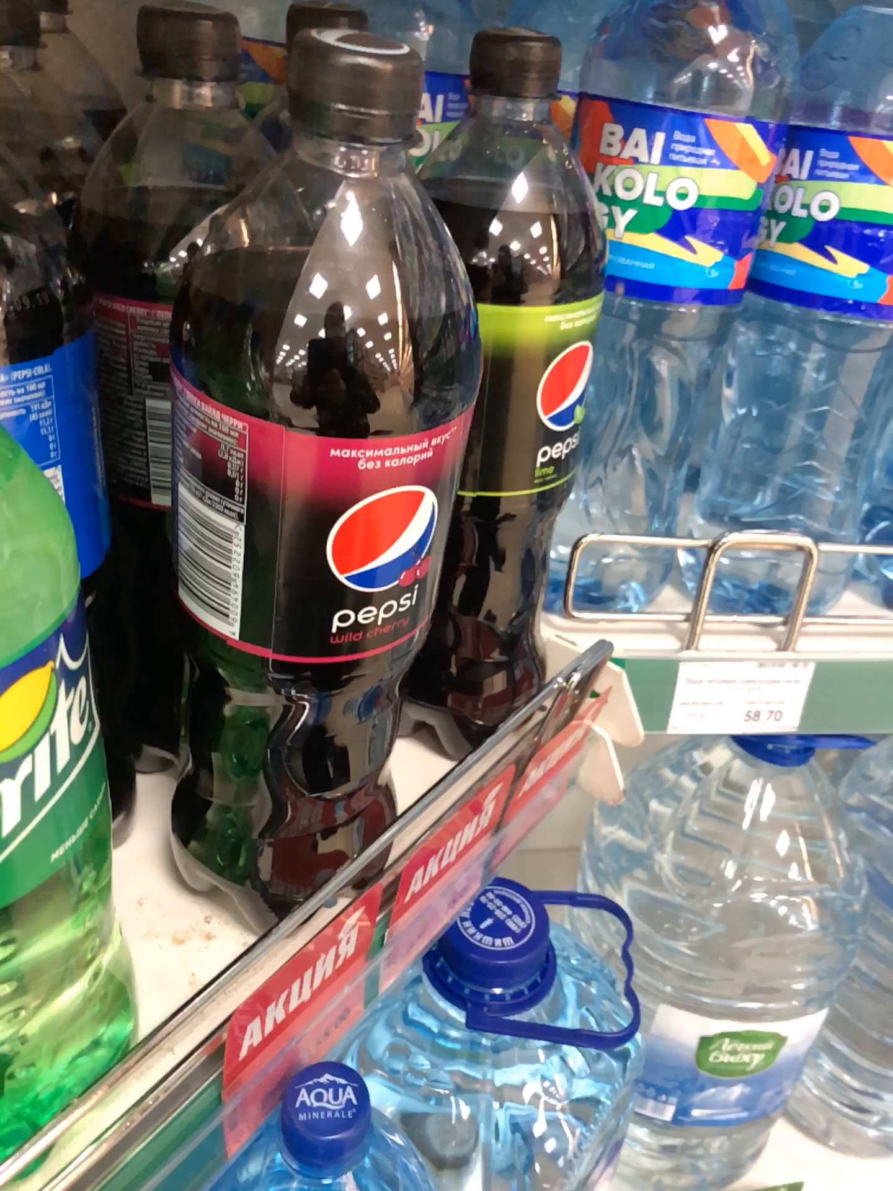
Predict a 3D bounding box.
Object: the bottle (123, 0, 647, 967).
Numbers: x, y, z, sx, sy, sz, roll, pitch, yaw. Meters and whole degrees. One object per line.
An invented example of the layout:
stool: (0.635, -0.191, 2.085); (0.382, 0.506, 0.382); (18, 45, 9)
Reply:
bottle: (-0.033, -0.018, 0.288); (0.086, 0.256, 0.077); (-20, 46, -37)

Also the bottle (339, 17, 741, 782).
bottle: (0.023, -0.065, 0.384); (0.086, 0.263, 0.077); (-20, 41, -37)
